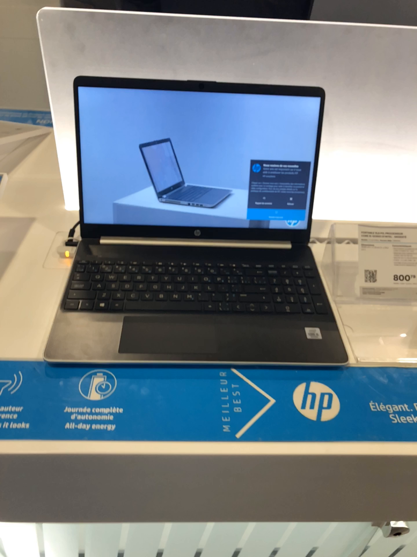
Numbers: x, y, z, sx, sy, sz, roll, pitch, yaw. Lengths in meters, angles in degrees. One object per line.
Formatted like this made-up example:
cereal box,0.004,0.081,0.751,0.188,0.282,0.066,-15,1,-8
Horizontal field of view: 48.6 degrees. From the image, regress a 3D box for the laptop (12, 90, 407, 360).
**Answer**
laptop,-0.004,-0.084,0.586,0.336,0.206,0.317,2,37,-2
